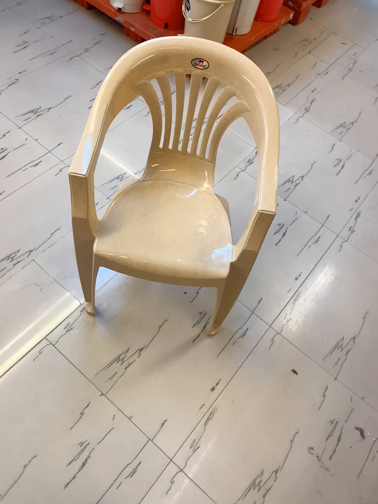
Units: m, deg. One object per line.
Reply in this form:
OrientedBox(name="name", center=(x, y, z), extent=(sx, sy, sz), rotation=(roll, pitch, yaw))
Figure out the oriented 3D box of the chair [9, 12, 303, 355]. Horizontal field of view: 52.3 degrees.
OrientedBox(name="chair", center=(-0.063, -0.146, 1.216), extent=(0.570, 0.745, 0.634), rotation=(12, 58, -2))
